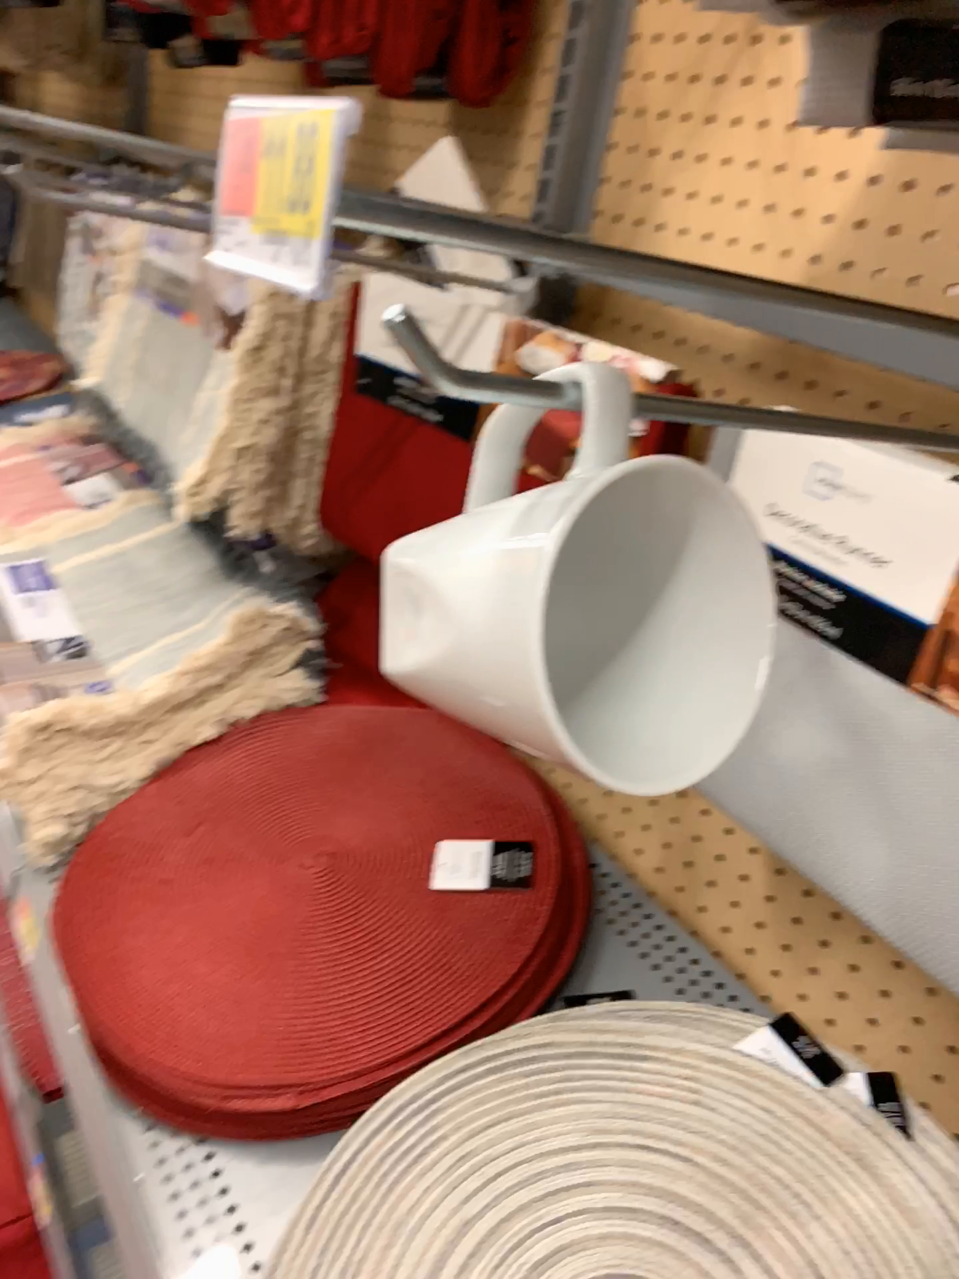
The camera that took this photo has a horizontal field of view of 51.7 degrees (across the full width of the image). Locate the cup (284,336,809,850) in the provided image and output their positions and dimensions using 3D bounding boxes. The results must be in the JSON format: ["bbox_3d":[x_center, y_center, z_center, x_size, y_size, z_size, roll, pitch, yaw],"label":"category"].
[{"bbox_3d":[0.009,-0.027,0.308,0.090,0.120,0.140,-7,16,-32],"label":"cup"}]
